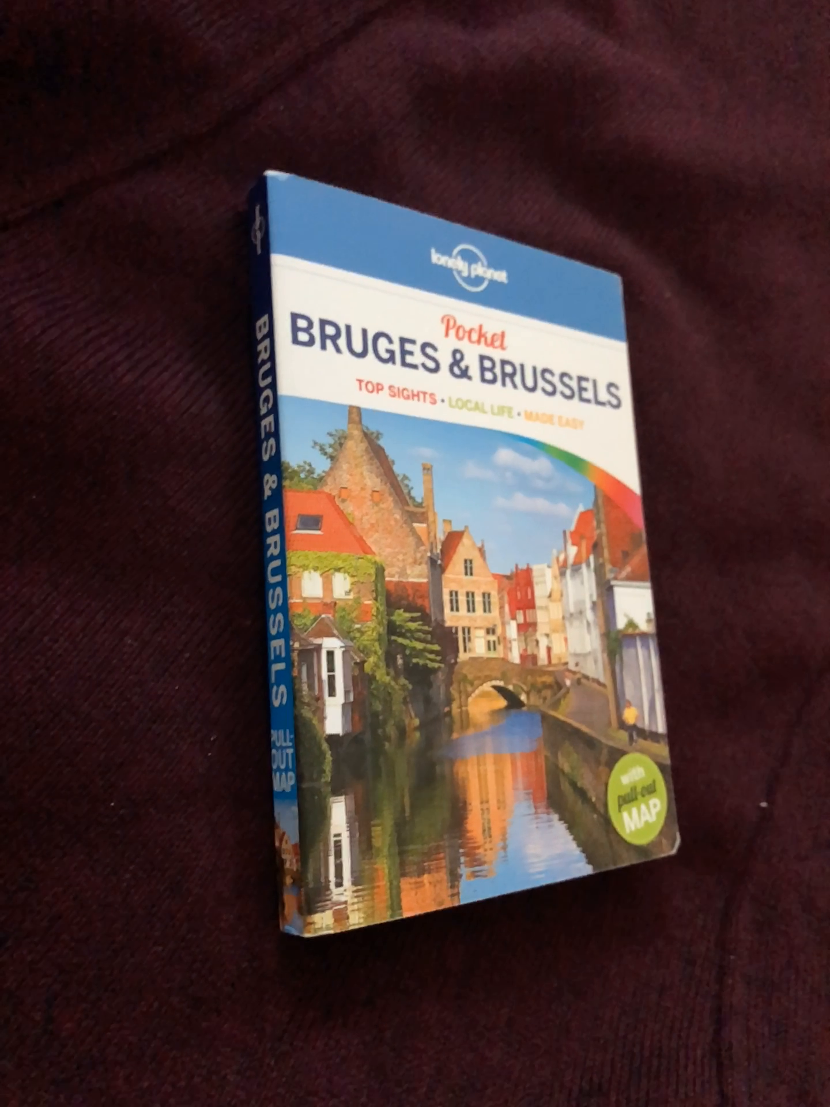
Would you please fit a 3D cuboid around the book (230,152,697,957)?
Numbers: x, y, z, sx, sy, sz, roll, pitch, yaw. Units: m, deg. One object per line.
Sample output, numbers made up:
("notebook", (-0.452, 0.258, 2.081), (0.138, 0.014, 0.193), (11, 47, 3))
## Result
("book", (0.015, -0.002, 0.220), (0.111, 0.016, 0.158), (2, 78, -35))
